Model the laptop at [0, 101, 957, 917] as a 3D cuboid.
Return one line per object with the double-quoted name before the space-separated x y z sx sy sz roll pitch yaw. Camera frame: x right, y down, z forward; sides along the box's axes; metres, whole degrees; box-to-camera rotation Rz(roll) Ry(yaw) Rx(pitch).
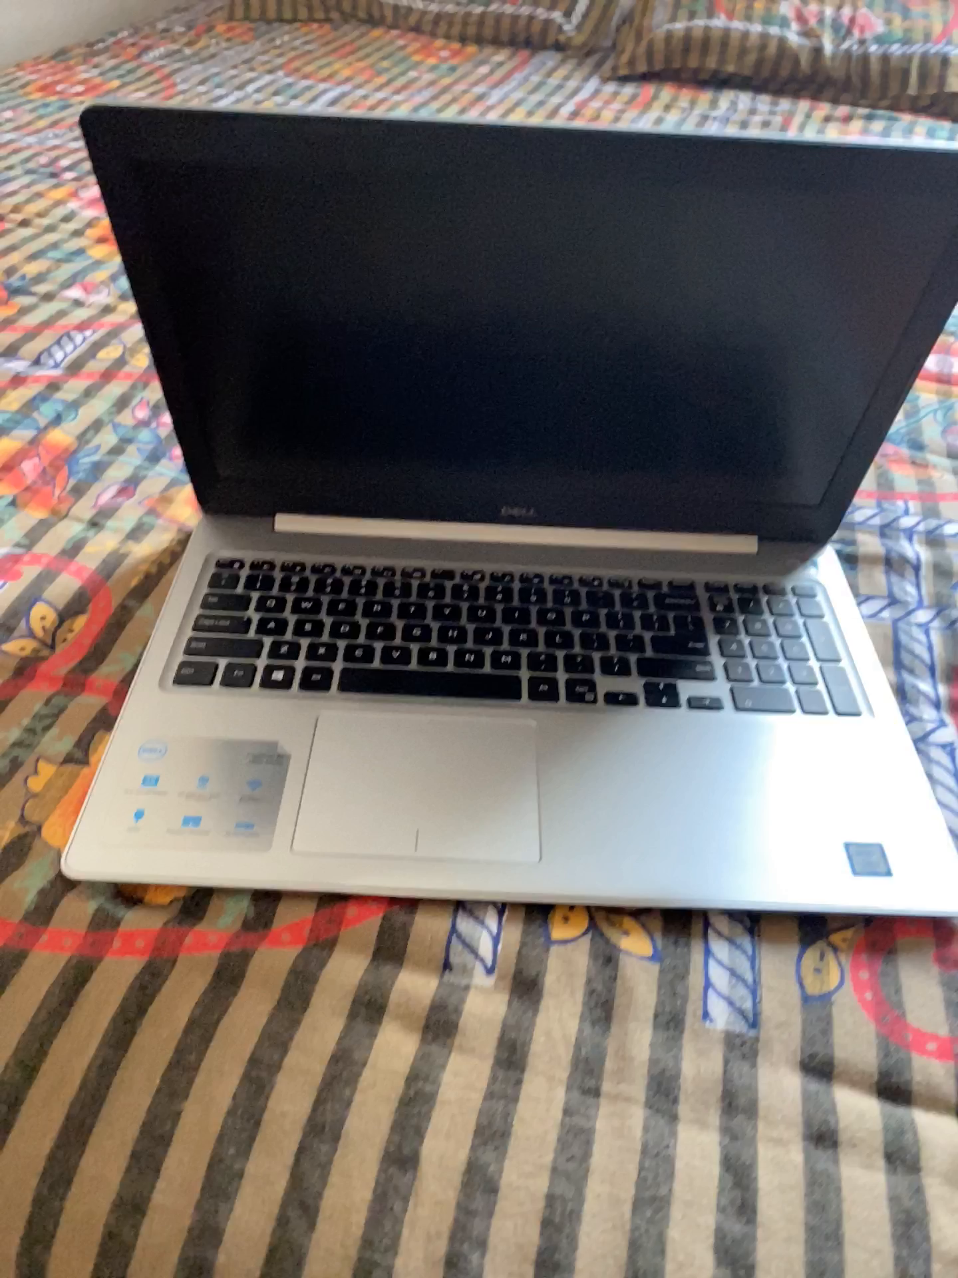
"laptop" 0.022 -0.054 0.405 0.373 0.231 0.210 3 43 0
